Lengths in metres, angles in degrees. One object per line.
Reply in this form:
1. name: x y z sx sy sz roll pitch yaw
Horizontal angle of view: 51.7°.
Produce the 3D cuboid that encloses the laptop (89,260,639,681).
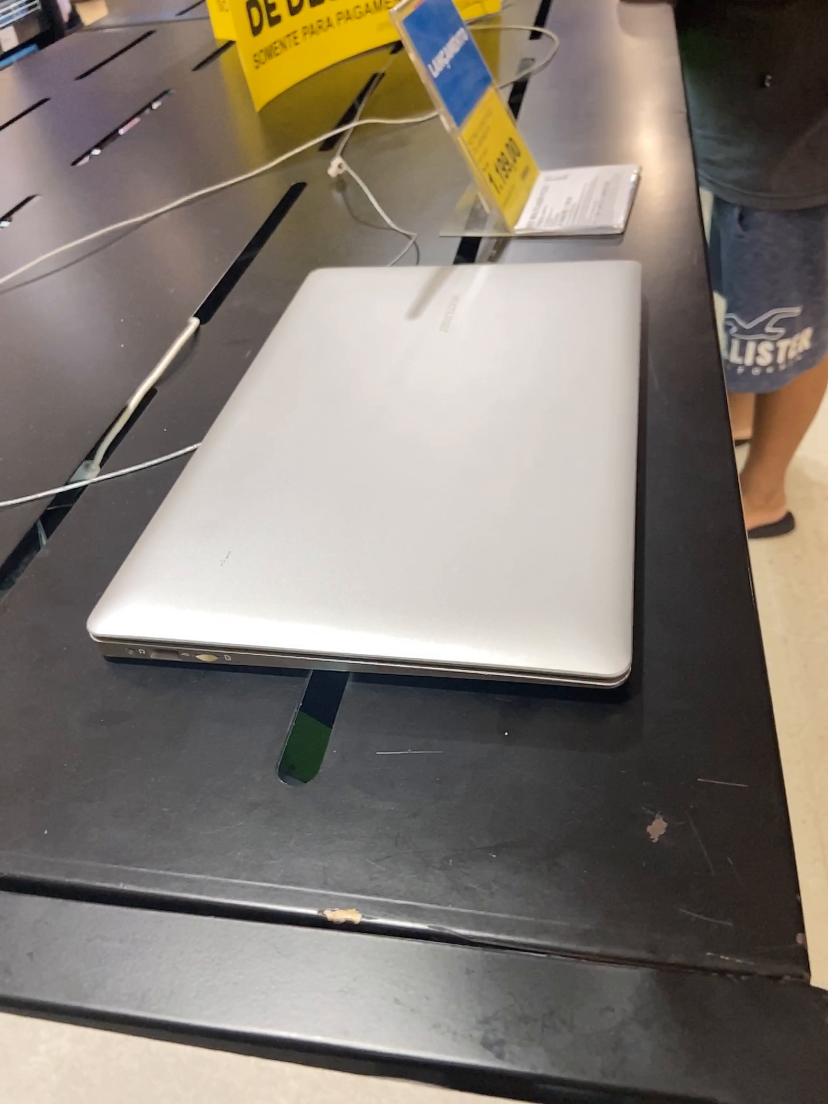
1. laptop: 0.004 -0.071 0.422 0.205 0.003 0.316 3 44 12
